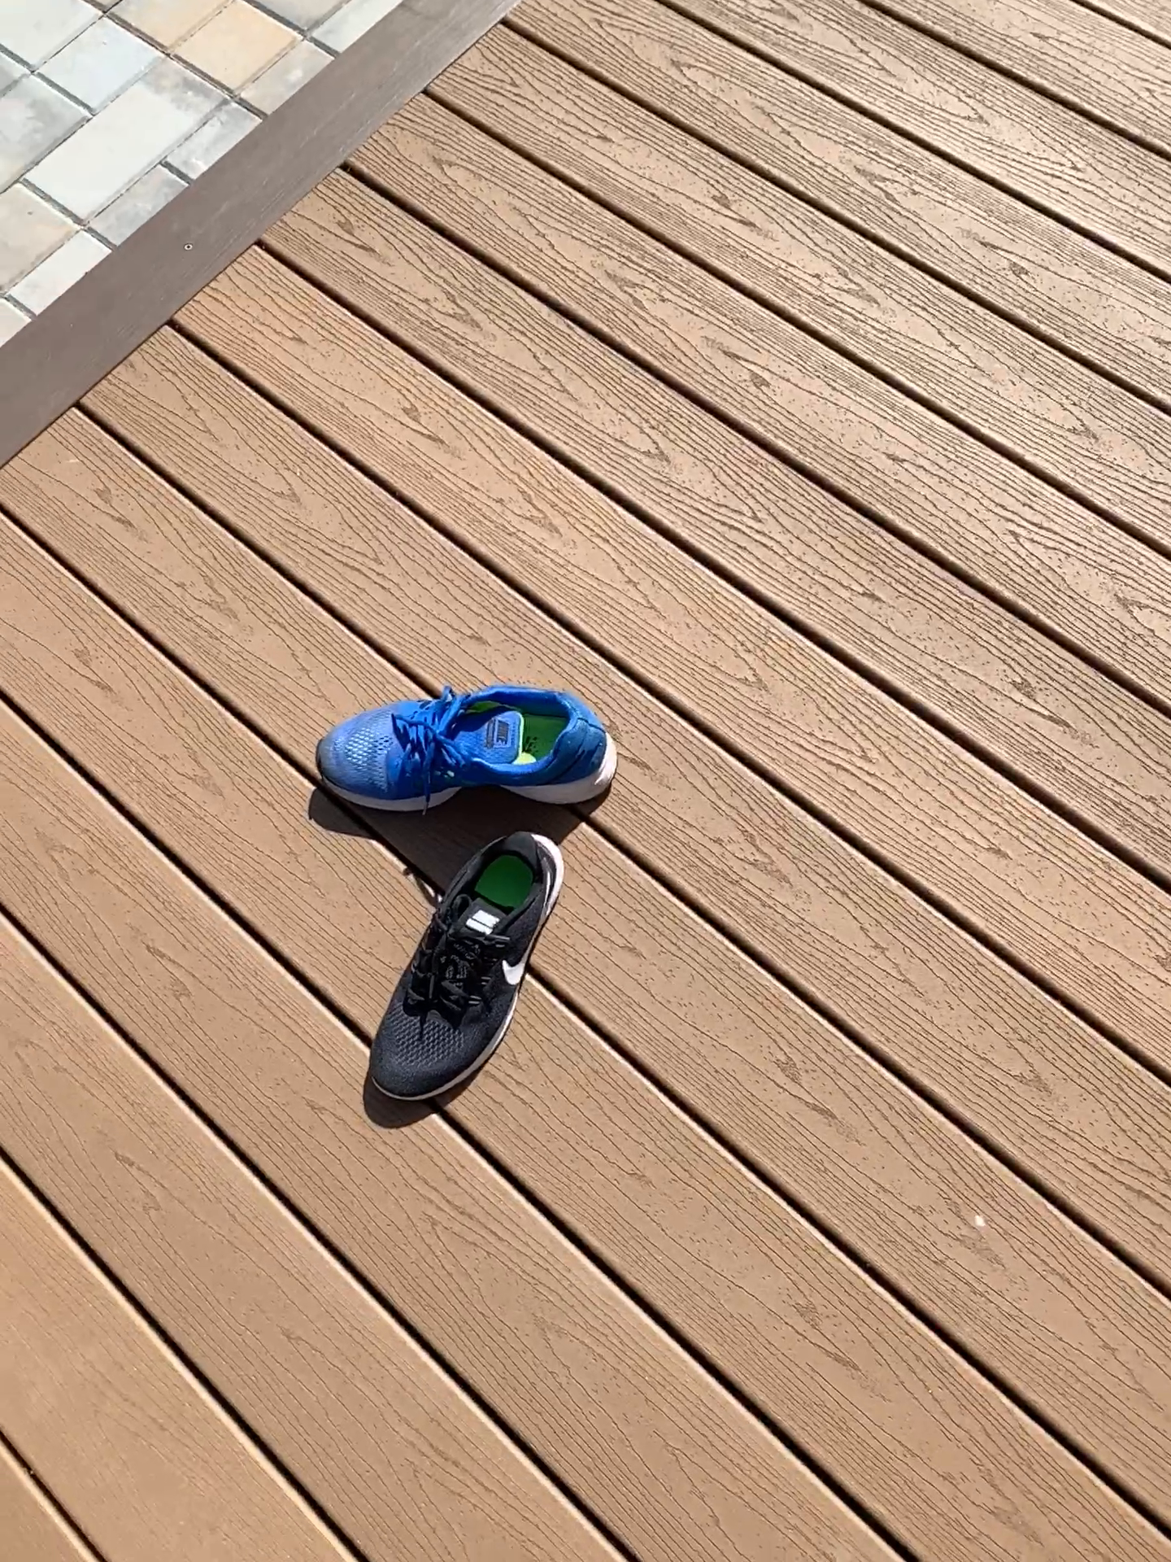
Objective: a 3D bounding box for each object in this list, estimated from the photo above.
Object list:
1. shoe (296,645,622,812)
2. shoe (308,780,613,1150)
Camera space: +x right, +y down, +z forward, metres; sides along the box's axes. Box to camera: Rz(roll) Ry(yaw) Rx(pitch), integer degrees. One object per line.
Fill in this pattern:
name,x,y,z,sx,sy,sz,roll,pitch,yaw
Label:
shoe,-0.114,-0.049,1.160,0.290,0.130,0.120,0,70,5
shoe,-0.102,0.164,1.066,0.120,0.110,0.290,27,74,14
